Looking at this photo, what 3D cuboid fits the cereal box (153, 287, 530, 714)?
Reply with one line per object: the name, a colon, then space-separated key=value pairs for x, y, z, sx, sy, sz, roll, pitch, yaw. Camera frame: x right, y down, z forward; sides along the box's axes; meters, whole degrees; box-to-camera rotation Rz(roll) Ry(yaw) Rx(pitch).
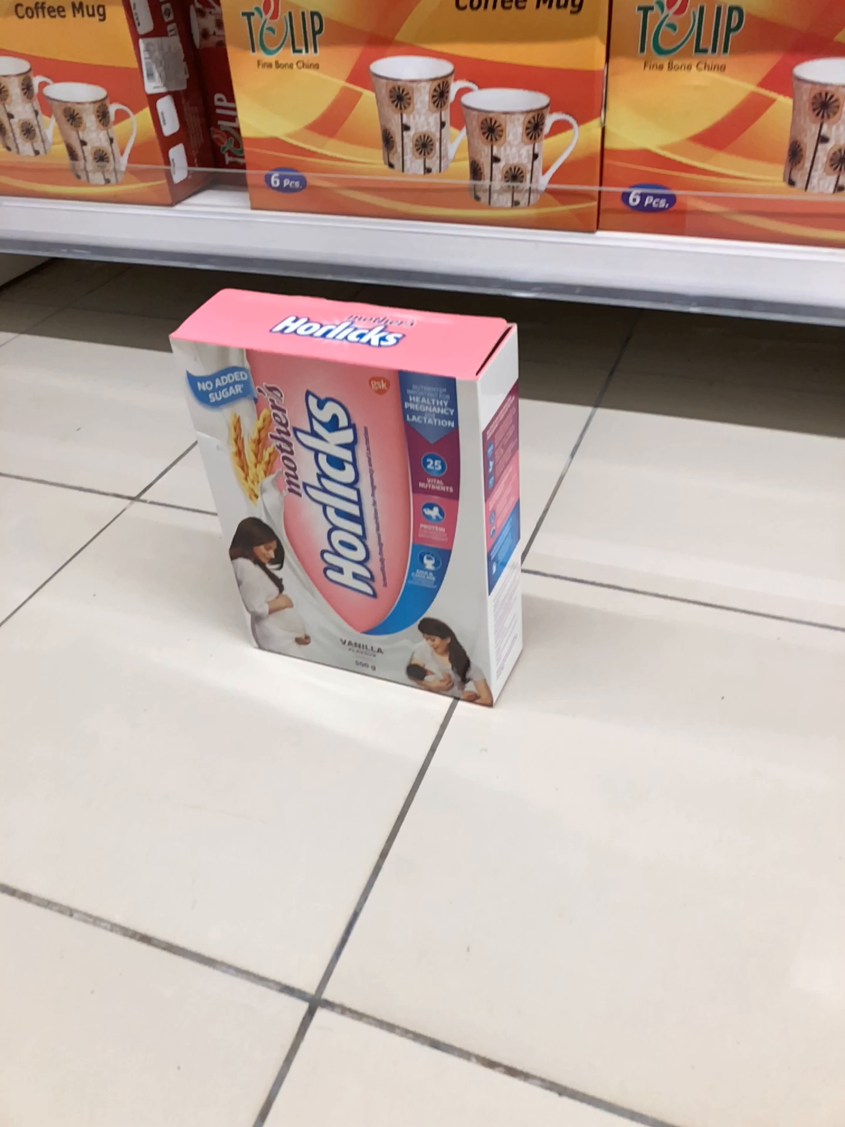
cereal box: x=-0.032 y=-0.031 z=0.473 sx=0.160 sy=0.189 sz=0.060 roll=12 pitch=39 yaw=20
